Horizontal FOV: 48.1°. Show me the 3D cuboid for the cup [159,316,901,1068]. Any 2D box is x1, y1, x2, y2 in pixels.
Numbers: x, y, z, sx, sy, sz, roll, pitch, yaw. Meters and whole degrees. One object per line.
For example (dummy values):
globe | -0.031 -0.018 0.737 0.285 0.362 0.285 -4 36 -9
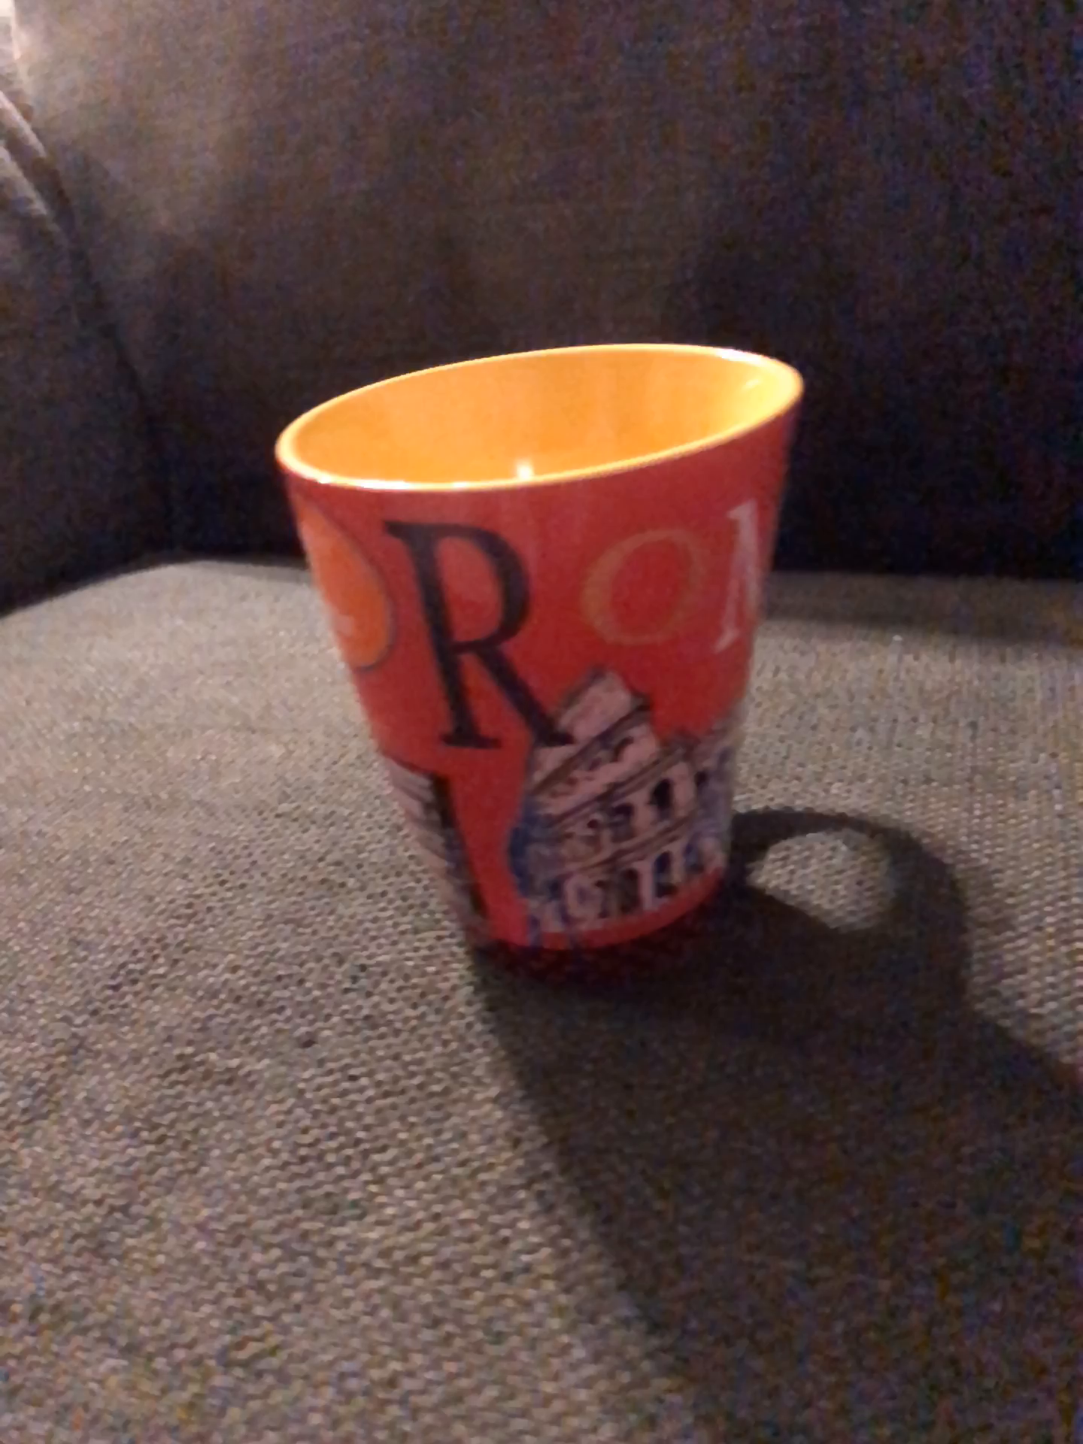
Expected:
cup | 0.009 -0.020 0.248 0.090 0.099 0.120 11 31 28
